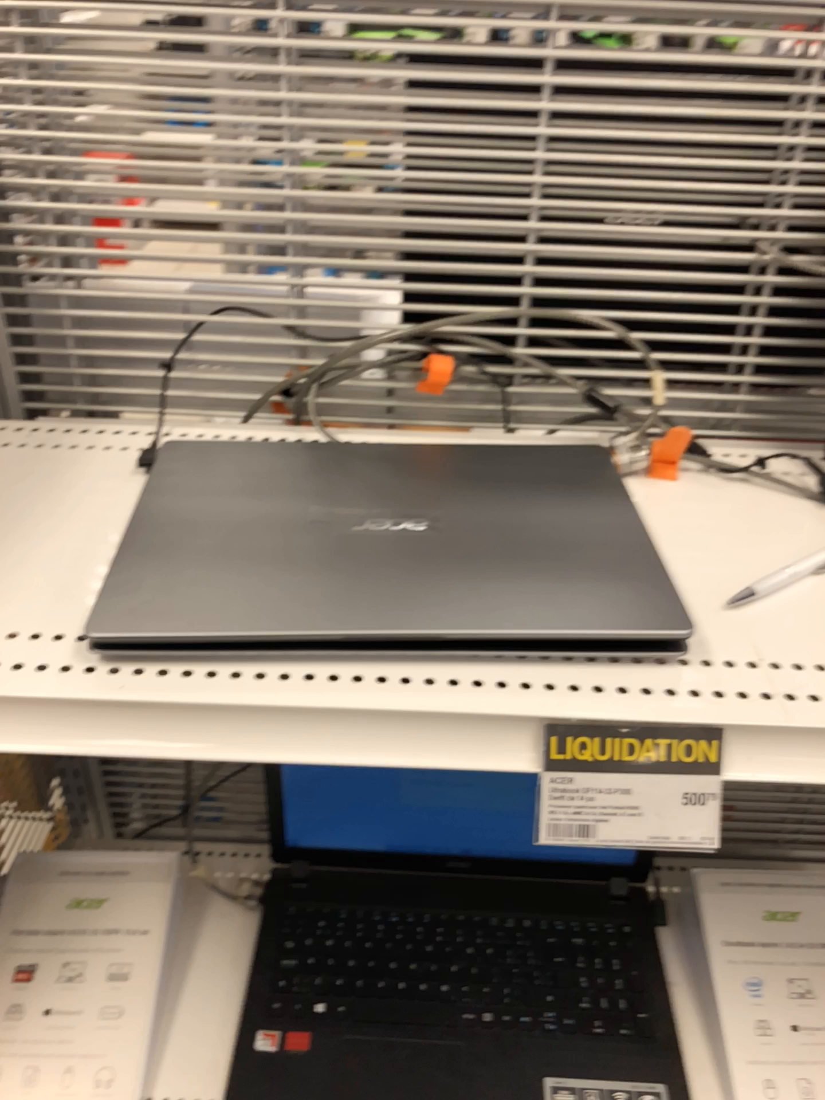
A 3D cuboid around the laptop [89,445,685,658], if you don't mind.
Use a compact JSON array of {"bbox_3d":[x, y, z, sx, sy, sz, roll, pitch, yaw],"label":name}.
[{"bbox_3d":[-0.015,-0.009,0.576,0.315,0.006,0.220,0,35,-2],"label":"laptop"}]
